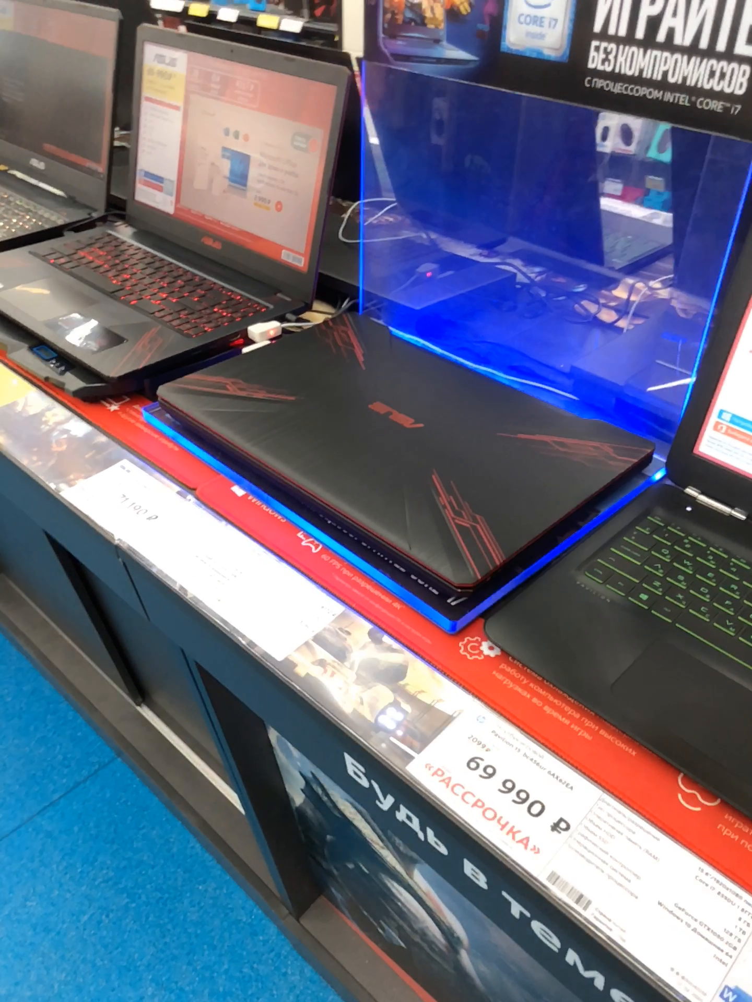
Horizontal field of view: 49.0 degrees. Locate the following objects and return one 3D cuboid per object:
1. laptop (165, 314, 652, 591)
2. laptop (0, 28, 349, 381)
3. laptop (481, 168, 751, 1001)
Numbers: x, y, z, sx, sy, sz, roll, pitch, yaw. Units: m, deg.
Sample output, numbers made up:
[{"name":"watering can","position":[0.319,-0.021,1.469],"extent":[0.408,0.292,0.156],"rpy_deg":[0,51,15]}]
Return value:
[{"name":"laptop","position":[0.018,-0.073,0.742],"extent":[0.244,0.006,0.374],"rpy_deg":[-31,47,-34]},{"name":"laptop","position":[-0.276,-0.359,0.916],"extent":[0.391,0.231,0.319],"rpy_deg":[30,45,33]},{"name":"laptop","position":[0.305,0.009,0.471],"extent":[0.292,0.242,0.375],"rpy_deg":[-31,48,-34]}]
